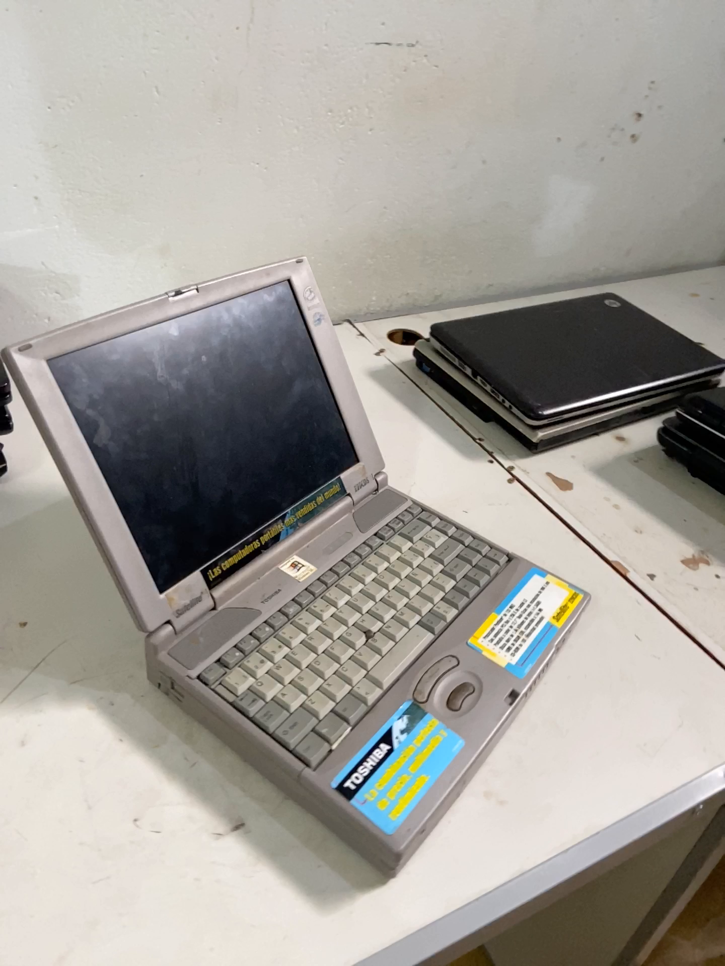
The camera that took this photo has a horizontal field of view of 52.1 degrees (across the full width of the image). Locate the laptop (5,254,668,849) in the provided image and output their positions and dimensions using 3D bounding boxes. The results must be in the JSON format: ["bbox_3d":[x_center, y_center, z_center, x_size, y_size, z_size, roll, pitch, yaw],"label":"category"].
[{"bbox_3d":[-0.017,0.004,0.579,0.358,0.195,0.302,30,41,26],"label":"laptop"}]
